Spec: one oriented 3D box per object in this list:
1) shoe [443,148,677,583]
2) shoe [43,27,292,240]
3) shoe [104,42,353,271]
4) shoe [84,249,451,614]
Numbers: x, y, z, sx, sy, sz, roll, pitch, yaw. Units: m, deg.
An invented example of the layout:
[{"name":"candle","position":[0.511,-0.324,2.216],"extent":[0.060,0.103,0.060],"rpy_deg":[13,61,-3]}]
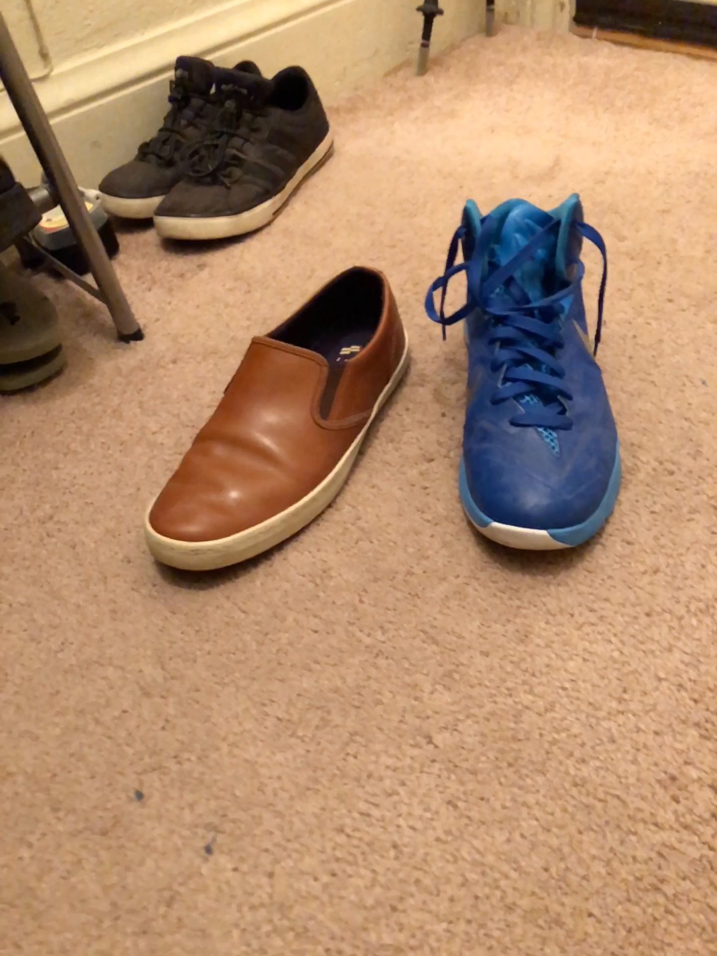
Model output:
[{"name":"shoe","position":[0.126,-0.091,0.549],"extent":[0.115,0.142,0.294],"rpy_deg":[0,46,10]},{"name":"shoe","position":[-0.204,-0.408,0.914],"extent":[0.115,0.112,0.294],"rpy_deg":[13,50,21]},{"name":"shoe","position":[-0.125,-0.361,0.863],"extent":[0.115,0.112,0.294],"rpy_deg":[13,50,21]},{"name":"shoe","position":[-0.047,-0.050,0.576],"extent":[0.105,0.083,0.283],"rpy_deg":[21,53,26]}]
